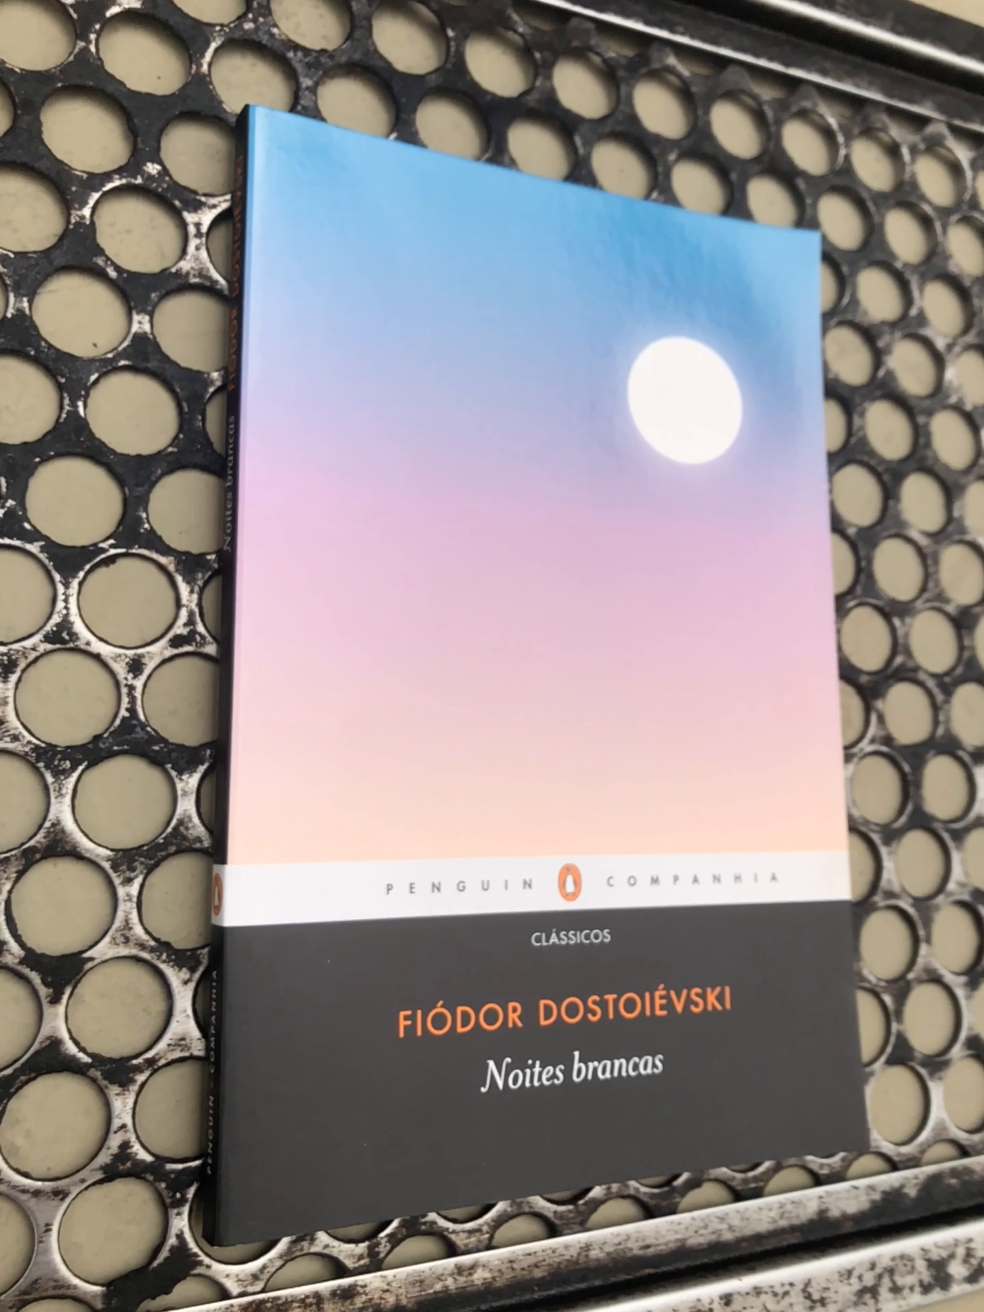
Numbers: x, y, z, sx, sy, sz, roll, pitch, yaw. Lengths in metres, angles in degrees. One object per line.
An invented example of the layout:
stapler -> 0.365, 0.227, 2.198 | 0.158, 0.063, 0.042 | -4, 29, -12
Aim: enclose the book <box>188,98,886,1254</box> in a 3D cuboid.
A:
book -> 0.014, 0.000, 0.212 | 0.133, 0.010, 0.191 | 3, 81, -22
